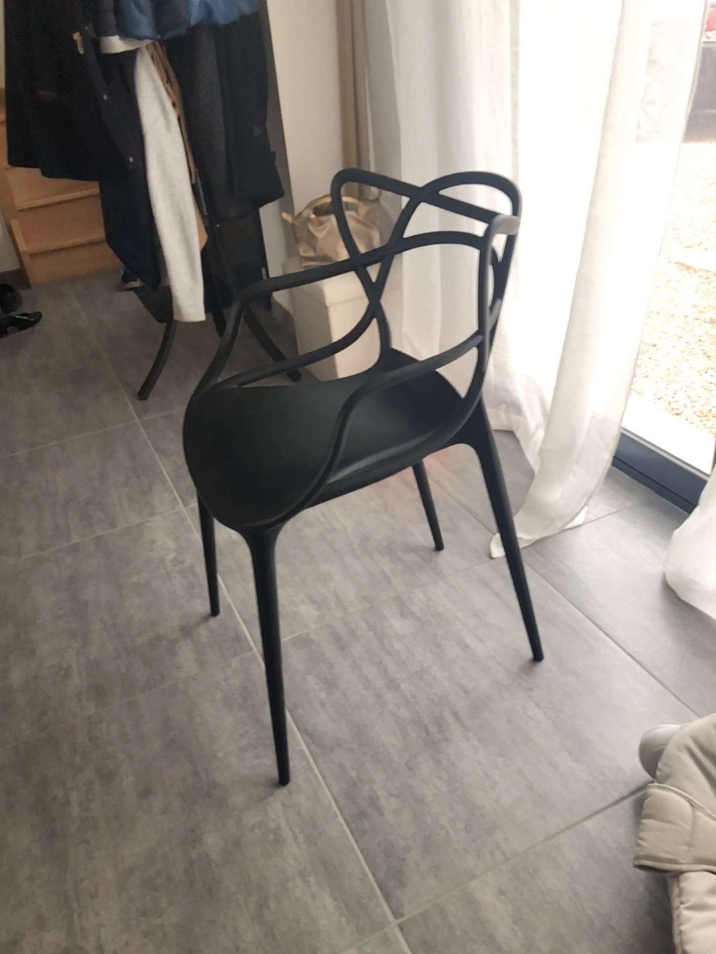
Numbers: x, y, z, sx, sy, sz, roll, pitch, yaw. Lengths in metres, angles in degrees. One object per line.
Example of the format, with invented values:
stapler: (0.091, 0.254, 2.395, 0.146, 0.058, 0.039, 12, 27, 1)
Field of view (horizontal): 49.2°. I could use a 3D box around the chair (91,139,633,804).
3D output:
chair: (-0.003, -0.056, 1.284, 0.587, 0.795, 0.565, -17, 32, -16)
